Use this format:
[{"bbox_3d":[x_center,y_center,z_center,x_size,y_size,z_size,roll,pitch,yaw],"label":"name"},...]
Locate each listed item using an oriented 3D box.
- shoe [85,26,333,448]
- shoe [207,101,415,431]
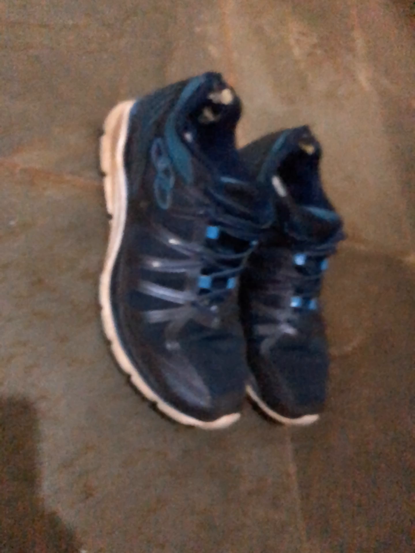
[{"bbox_3d":[-0.008,-0.023,0.372,0.121,0.109,0.280,6,70,-42],"label":"shoe"},{"bbox_3d":[0.095,-0.004,0.462,0.121,0.109,0.281,8,68,-41],"label":"shoe"}]
